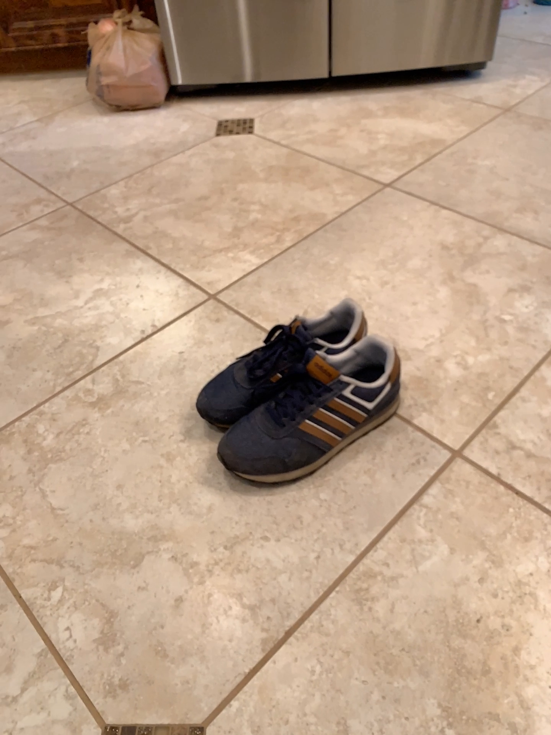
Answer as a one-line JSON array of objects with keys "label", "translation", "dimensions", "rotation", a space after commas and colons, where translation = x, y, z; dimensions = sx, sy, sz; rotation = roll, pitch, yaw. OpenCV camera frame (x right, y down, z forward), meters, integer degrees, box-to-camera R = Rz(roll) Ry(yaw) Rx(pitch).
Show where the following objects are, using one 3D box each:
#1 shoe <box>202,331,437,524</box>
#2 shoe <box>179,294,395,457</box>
[{"label": "shoe", "translation": [0.061, 0.073, 0.759], "dimensions": [0.282, 0.102, 0.112], "rotation": [-24, 48, -17]}, {"label": "shoe", "translation": [0.020, 0.007, 0.826], "dimensions": [0.282, 0.102, 0.107], "rotation": [-21, 47, -15]}]
